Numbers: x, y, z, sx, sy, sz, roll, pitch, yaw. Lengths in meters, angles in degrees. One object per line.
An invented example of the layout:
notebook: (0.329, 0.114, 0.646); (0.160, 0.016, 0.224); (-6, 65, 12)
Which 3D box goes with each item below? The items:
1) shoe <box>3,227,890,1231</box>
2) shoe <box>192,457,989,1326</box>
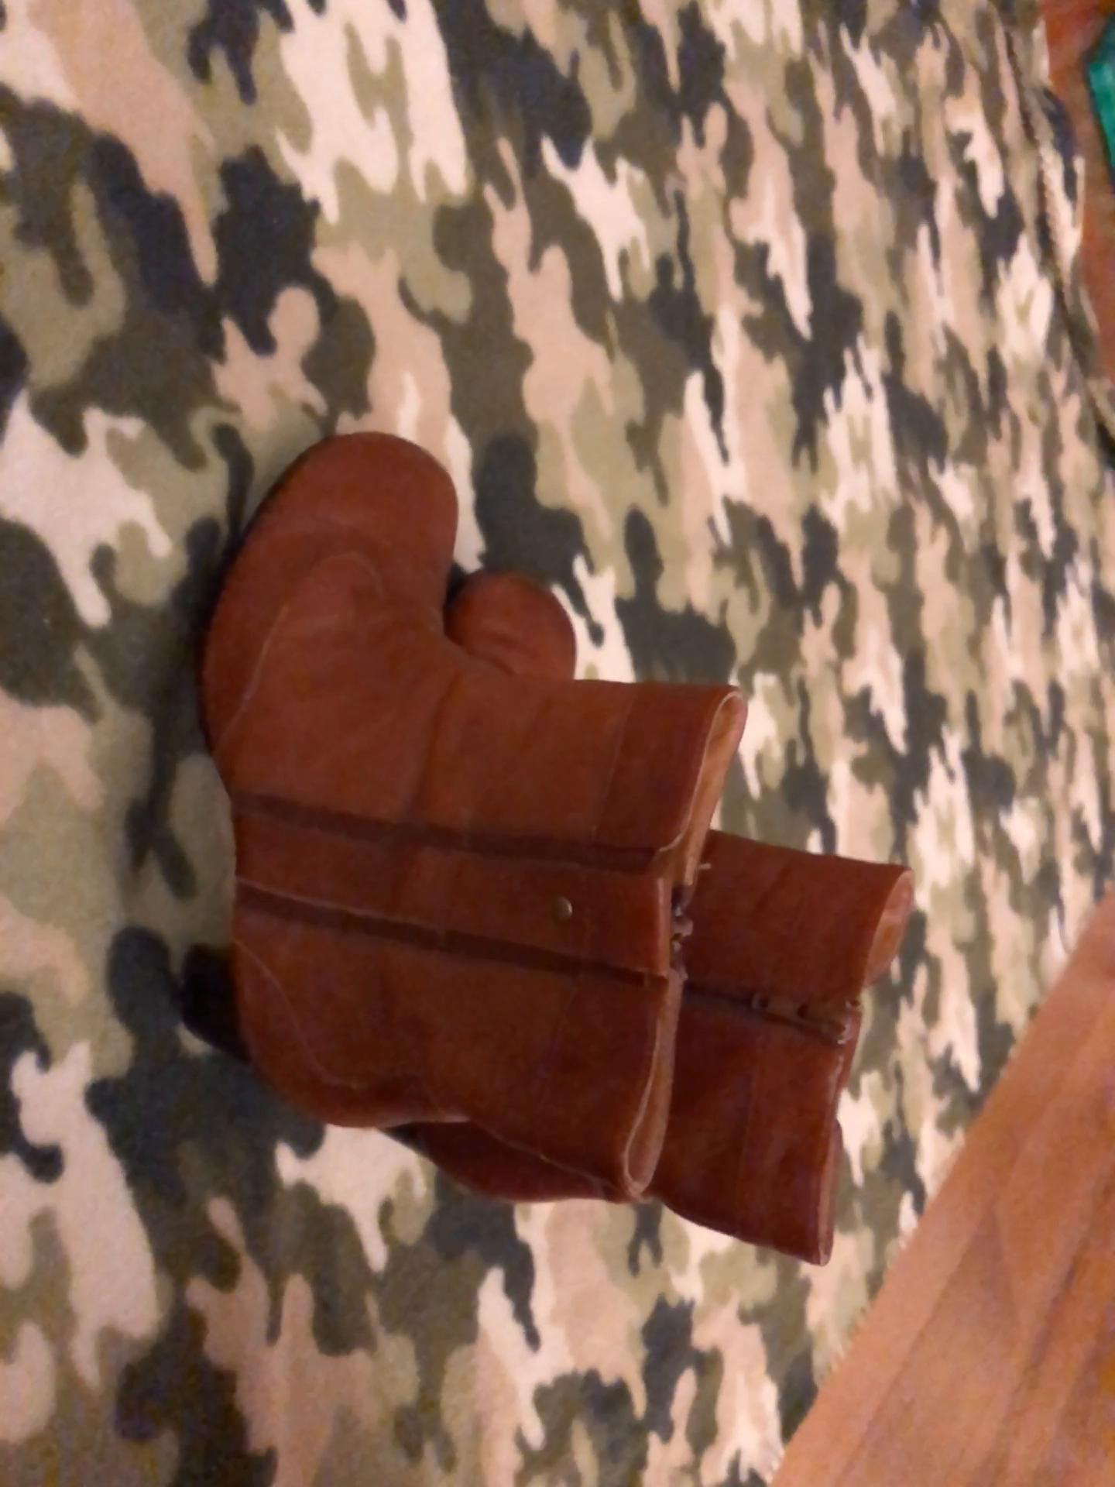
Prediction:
shoe: (-0.031, -0.004, 0.355); (0.090, 0.189, 0.220); (34, 65, -43)
shoe: (0.013, 0.039, 0.403); (0.090, 0.189, 0.220); (37, 62, -42)
